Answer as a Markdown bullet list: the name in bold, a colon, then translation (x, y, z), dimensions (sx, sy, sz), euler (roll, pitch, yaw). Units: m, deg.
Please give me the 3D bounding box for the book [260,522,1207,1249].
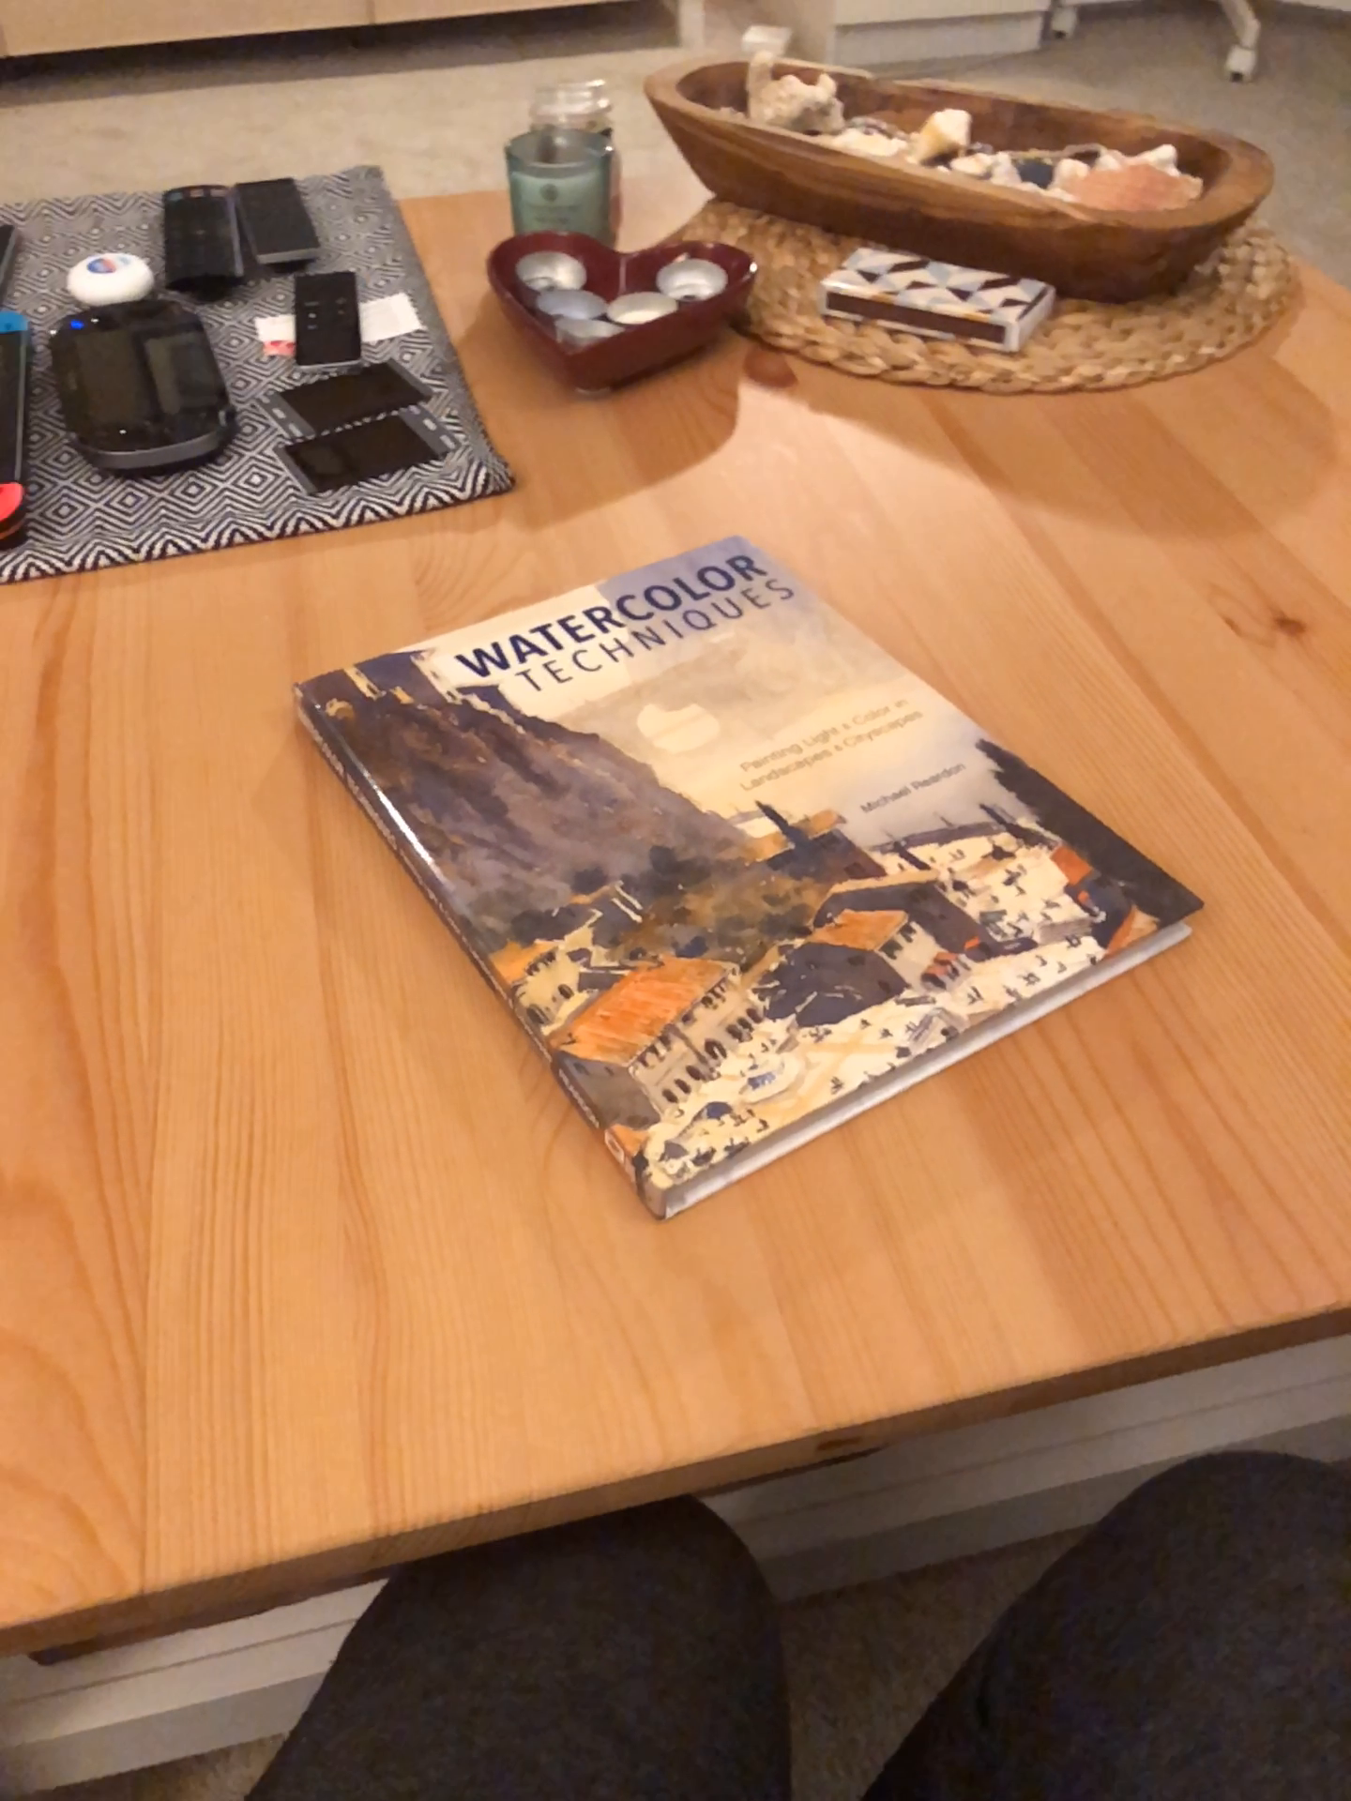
- **book**: translation (0.007, -0.034, 0.531), dimensions (0.213, 0.020, 0.279), euler (-24, 50, -23)
